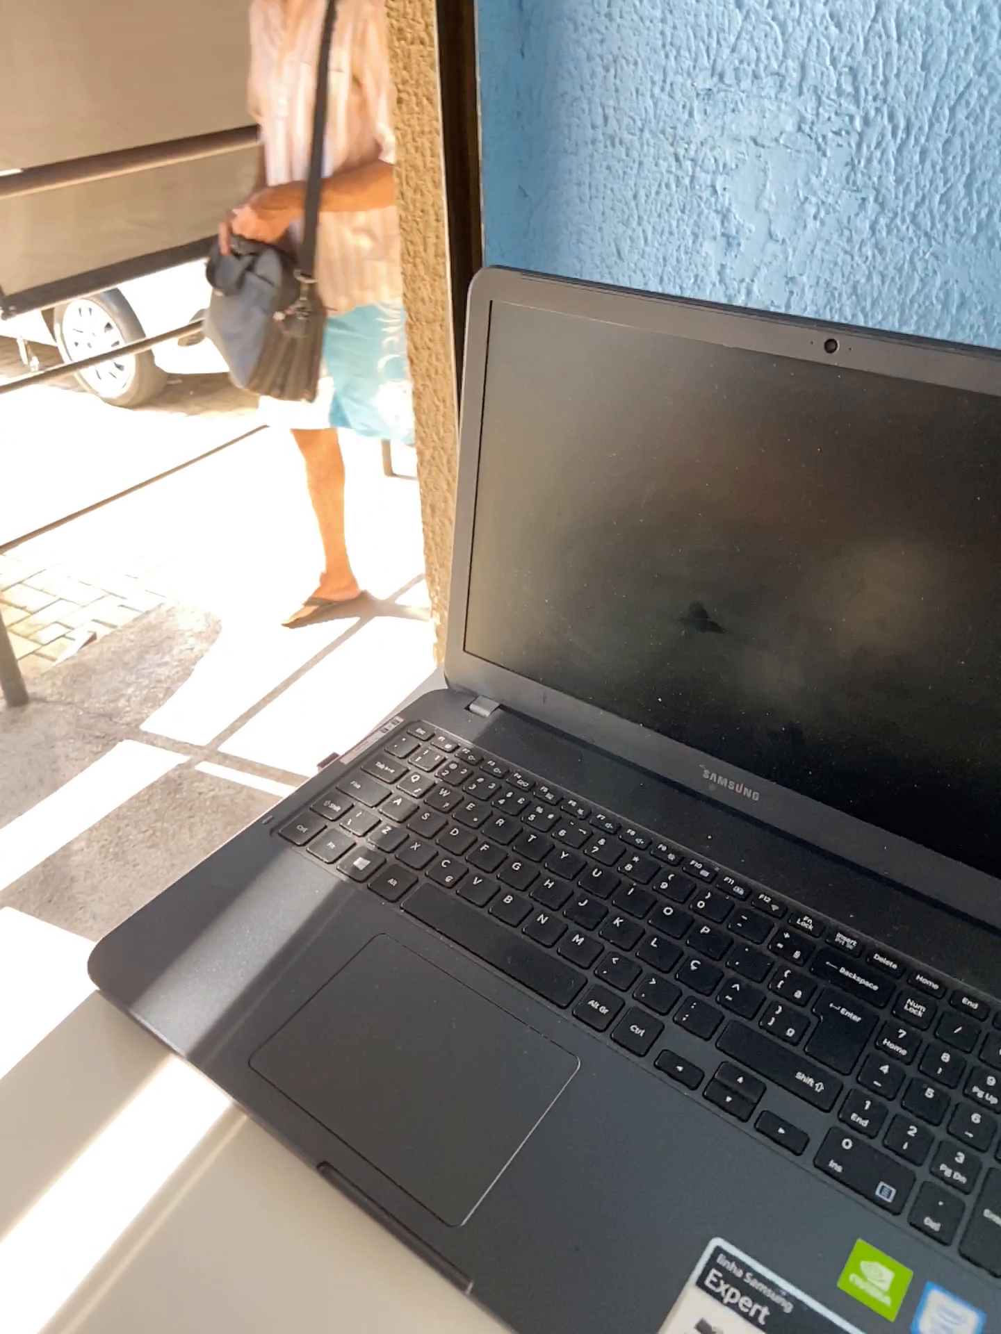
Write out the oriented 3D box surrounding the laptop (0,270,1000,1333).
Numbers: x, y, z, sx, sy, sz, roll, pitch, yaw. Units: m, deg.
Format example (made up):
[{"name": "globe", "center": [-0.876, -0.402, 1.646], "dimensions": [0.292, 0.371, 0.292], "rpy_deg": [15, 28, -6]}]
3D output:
[{"name": "laptop", "center": [0.049, 0.027, 0.386], "dimensions": [0.371, 0.232, 0.288], "rpy_deg": [22, 41, 31]}]
